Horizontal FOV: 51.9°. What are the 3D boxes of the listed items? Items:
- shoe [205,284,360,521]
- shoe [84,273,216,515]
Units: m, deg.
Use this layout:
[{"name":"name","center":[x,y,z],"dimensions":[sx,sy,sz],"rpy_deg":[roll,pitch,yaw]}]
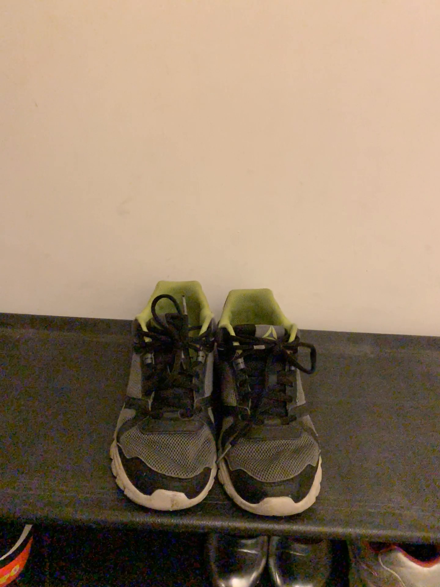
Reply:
[{"name":"shoe","center":[0.043,0.088,0.465],"dimensions":[0.110,0.069,0.262],"rpy_deg":[2,31,-4]},{"name":"shoe","center":[-0.058,0.084,0.478],"dimensions":[0.100,0.099,0.252],"rpy_deg":[3,31,-2]}]
